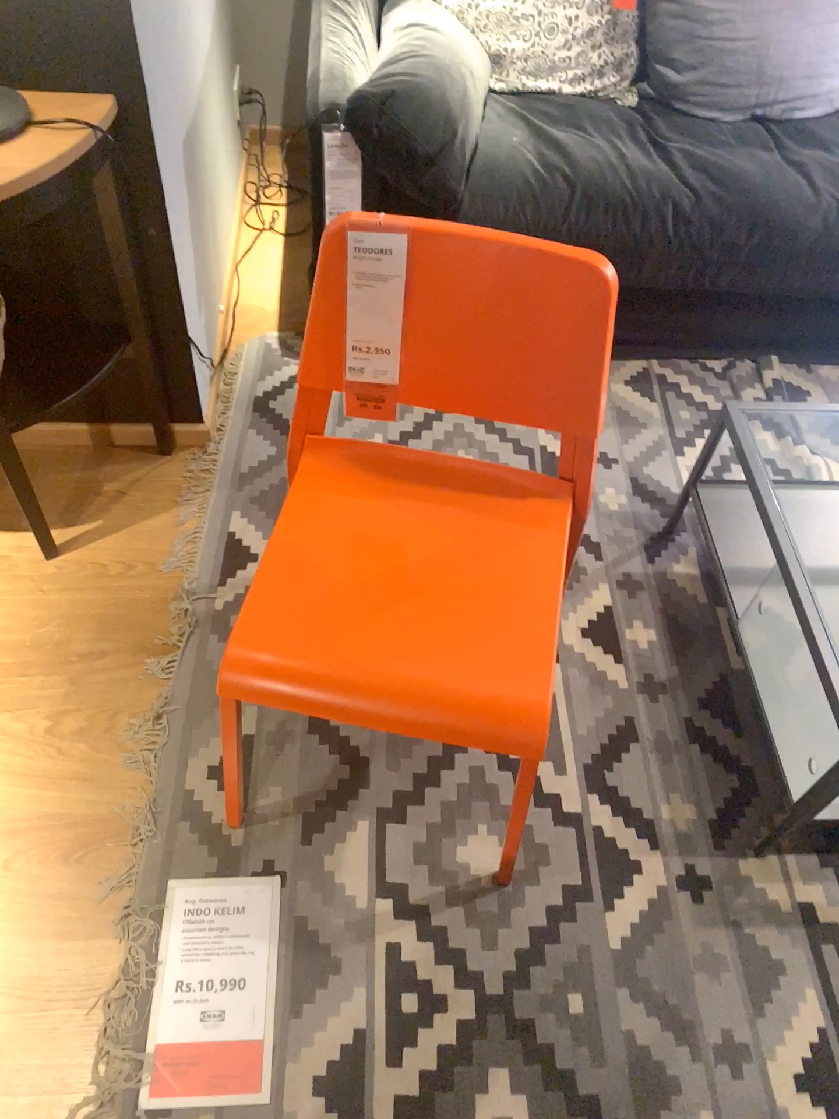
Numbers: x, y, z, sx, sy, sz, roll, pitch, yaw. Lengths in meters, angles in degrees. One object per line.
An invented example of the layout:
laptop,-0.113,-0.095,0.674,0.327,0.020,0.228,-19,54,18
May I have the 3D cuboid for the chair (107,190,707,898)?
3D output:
chair,0.010,0.016,1.192,0.520,0.728,0.582,10,52,3
